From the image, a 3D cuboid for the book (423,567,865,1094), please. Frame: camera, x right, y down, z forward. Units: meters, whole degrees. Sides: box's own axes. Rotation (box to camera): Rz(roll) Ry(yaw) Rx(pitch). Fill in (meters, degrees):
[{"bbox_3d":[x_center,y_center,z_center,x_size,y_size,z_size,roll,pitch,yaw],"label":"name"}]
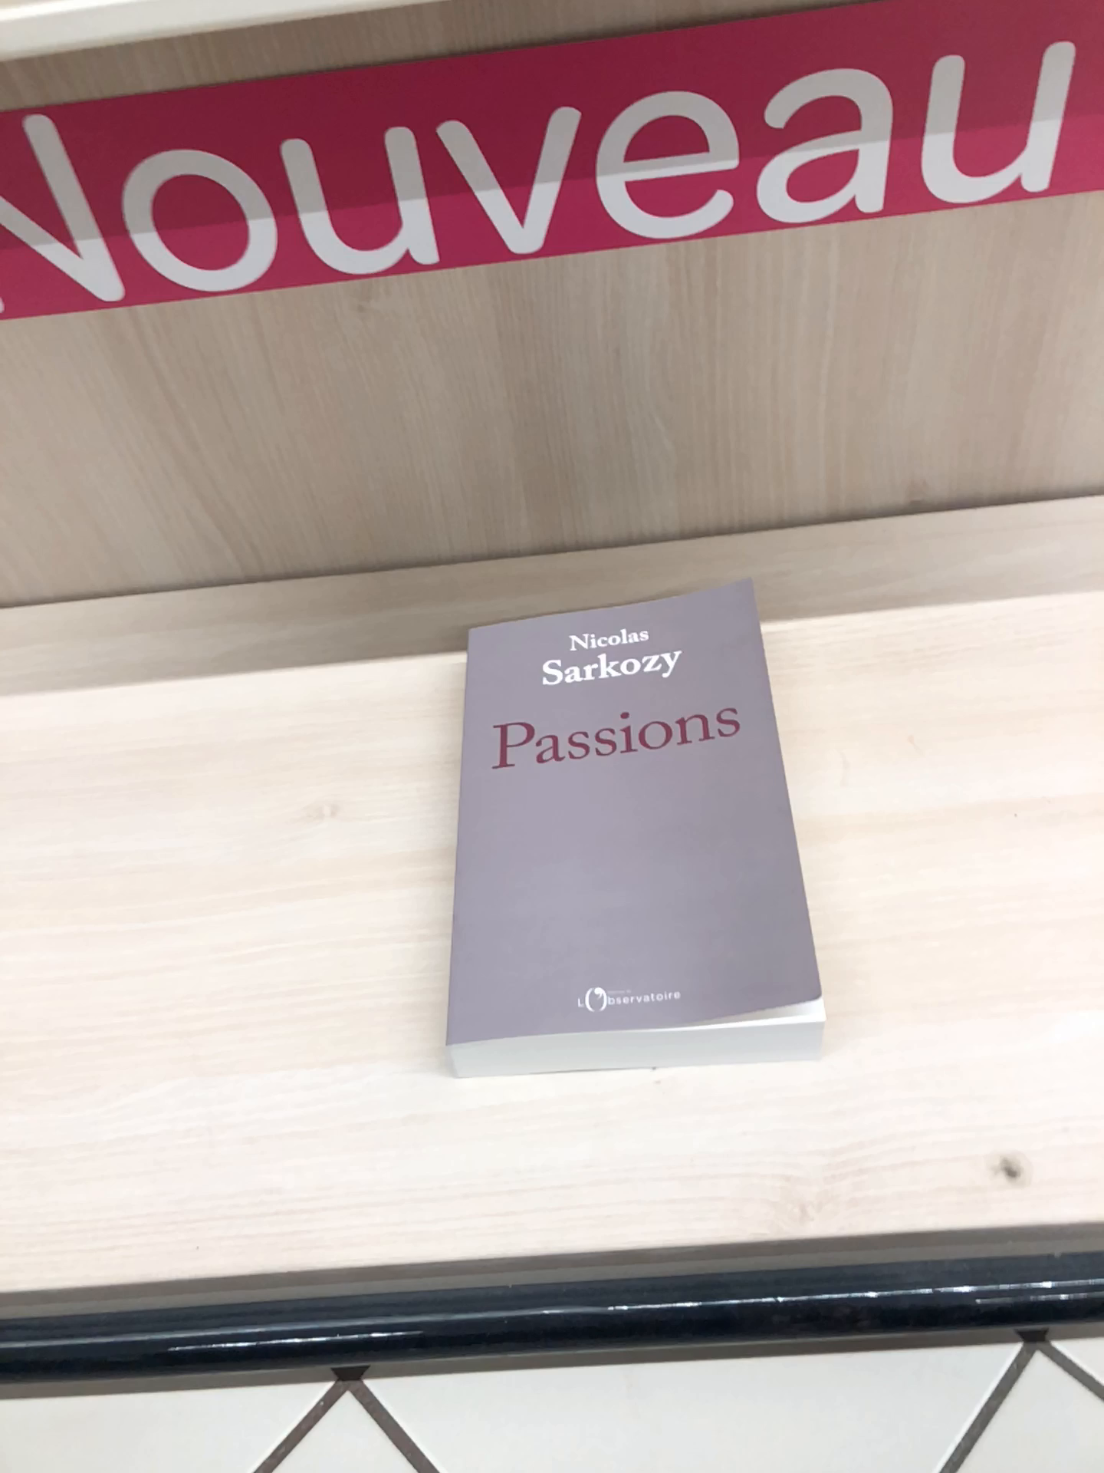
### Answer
[{"bbox_3d":[0.031,0.029,0.516,0.156,0.044,0.225,-5,51,4],"label":"book"}]
